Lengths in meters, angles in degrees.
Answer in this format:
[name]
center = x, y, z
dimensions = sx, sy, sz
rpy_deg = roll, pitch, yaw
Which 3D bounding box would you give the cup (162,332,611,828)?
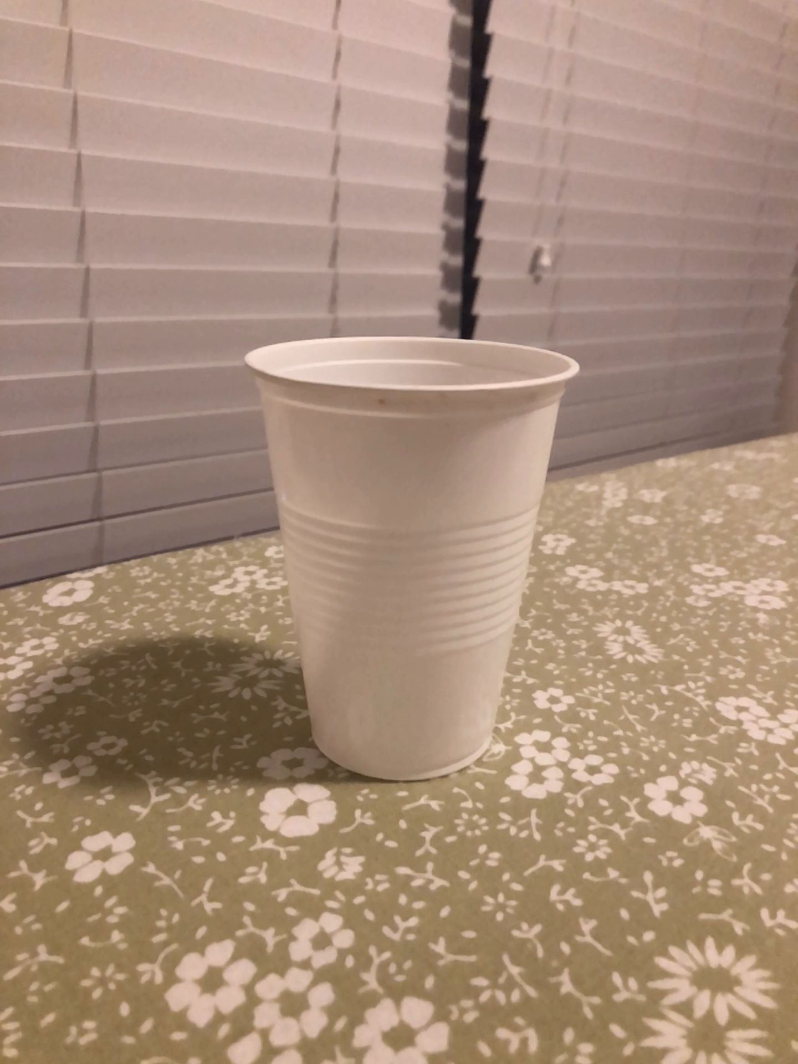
[cup]
center = 0.001, 0.002, 0.221
dimensions = 0.077, 0.090, 0.079
rpy_deg = 0, 18, 0
